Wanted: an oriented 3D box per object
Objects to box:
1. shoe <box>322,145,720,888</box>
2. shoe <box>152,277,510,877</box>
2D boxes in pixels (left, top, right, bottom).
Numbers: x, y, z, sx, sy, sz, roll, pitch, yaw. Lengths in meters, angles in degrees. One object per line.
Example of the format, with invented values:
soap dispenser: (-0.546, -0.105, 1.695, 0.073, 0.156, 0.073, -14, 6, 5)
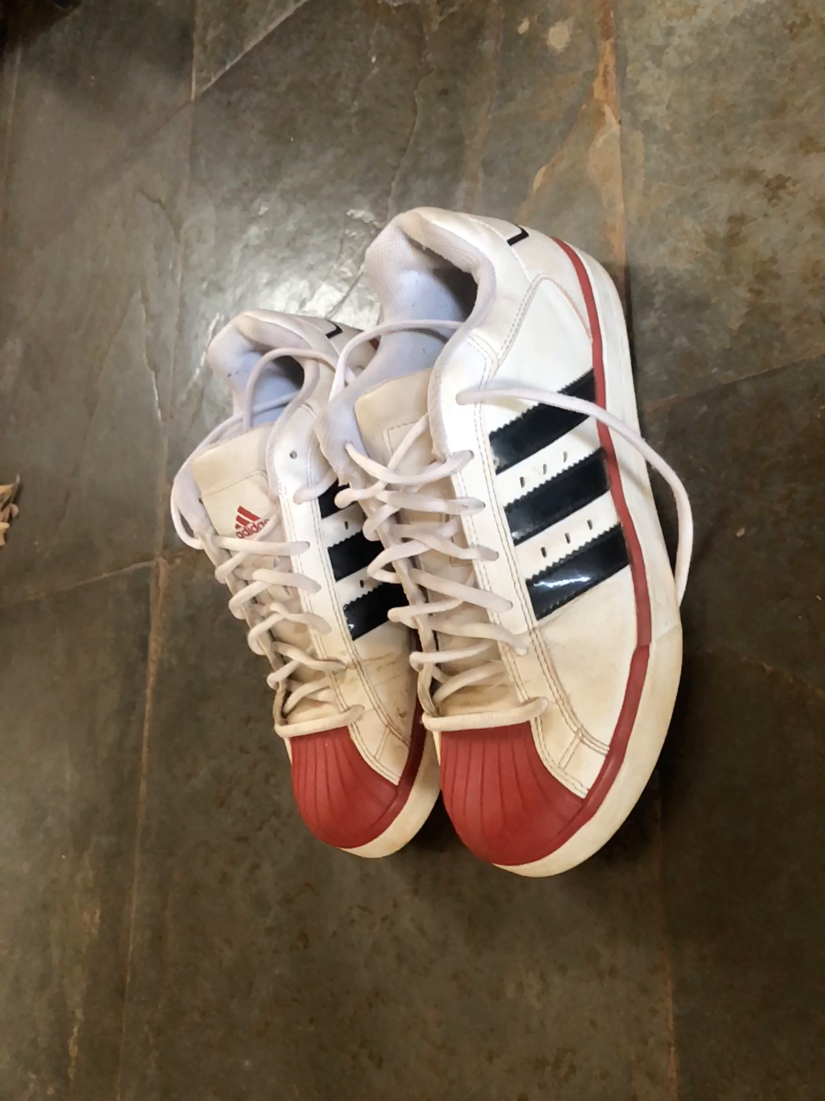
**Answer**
shoe: (0.041, -0.006, 0.391, 0.110, 0.110, 0.270, -15, 69, 42)
shoe: (-0.044, 0.023, 0.476, 0.110, 0.129, 0.270, -19, 67, 41)
